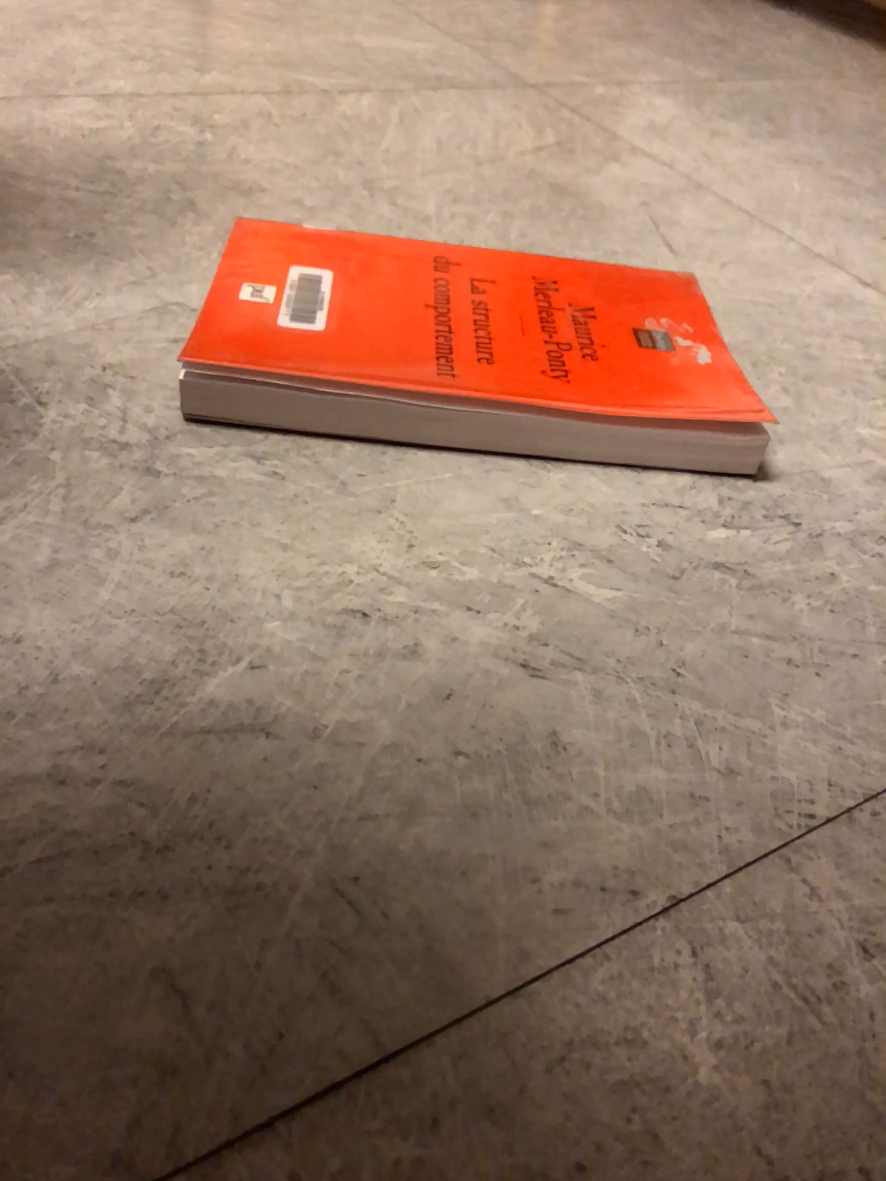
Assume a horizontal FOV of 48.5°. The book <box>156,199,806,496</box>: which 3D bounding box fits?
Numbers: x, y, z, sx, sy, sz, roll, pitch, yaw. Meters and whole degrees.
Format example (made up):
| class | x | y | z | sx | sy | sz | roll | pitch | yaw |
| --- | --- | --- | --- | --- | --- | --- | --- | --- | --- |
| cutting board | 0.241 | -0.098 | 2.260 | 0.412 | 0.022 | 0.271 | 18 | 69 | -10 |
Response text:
| class | x | y | z | sx | sy | sz | roll | pitch | yaw |
| --- | --- | --- | --- | --- | --- | --- | --- | --- | --- |
| book | 0.013 | -0.093 | 0.356 | 0.200 | 0.020 | 0.136 | 5 | 42 | -6 |
